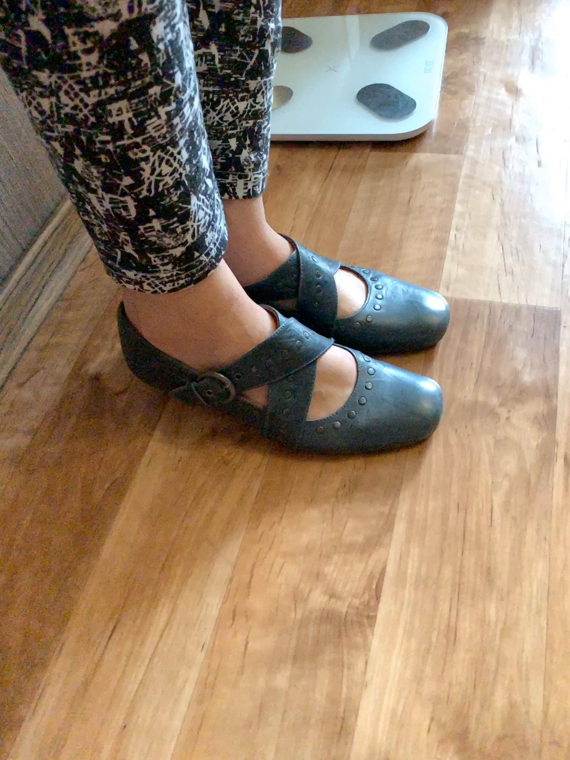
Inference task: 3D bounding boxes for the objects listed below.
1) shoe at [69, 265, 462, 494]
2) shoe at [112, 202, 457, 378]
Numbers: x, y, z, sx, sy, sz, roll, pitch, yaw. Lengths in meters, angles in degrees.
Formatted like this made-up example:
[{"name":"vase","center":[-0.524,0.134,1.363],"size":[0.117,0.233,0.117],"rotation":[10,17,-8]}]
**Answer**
[{"name":"shoe","center":[-0.008,-0.004,0.415],"size":[0.240,0.100,0.090],"rotation":[8,56,16]},{"name":"shoe","center":[0.006,-0.075,0.479],"size":[0.250,0.100,0.090],"rotation":[4,55,13]}]
